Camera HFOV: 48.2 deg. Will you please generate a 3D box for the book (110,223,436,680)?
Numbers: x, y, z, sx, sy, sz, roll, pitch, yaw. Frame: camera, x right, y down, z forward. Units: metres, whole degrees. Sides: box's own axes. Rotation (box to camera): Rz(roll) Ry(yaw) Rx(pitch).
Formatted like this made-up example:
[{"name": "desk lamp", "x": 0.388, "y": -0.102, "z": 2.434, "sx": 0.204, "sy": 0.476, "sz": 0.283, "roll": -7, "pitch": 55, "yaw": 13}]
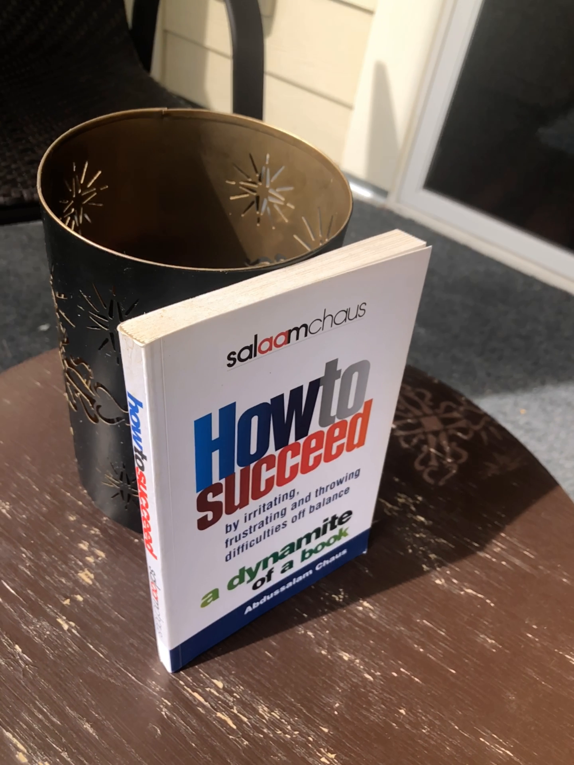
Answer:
[{"name": "book", "x": -0.005, "y": 0.040, "z": 0.302, "sx": 0.139, "sy": 0.207, "sz": 0.018, "roll": -23, "pitch": 46, "yaw": -32}]
